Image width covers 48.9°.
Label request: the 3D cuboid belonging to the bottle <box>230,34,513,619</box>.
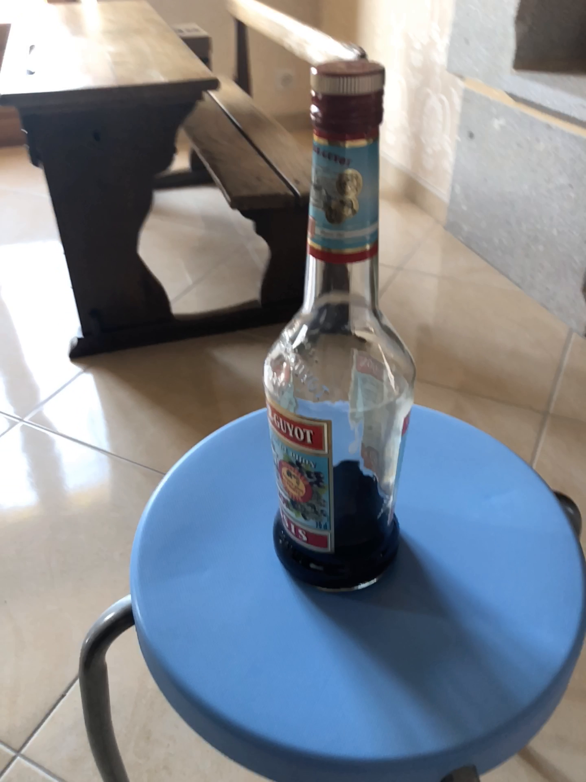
[{"bbox_3d":[0.028,-0.013,0.345,0.090,0.298,0.090,-1,37,1],"label":"bottle"}]
